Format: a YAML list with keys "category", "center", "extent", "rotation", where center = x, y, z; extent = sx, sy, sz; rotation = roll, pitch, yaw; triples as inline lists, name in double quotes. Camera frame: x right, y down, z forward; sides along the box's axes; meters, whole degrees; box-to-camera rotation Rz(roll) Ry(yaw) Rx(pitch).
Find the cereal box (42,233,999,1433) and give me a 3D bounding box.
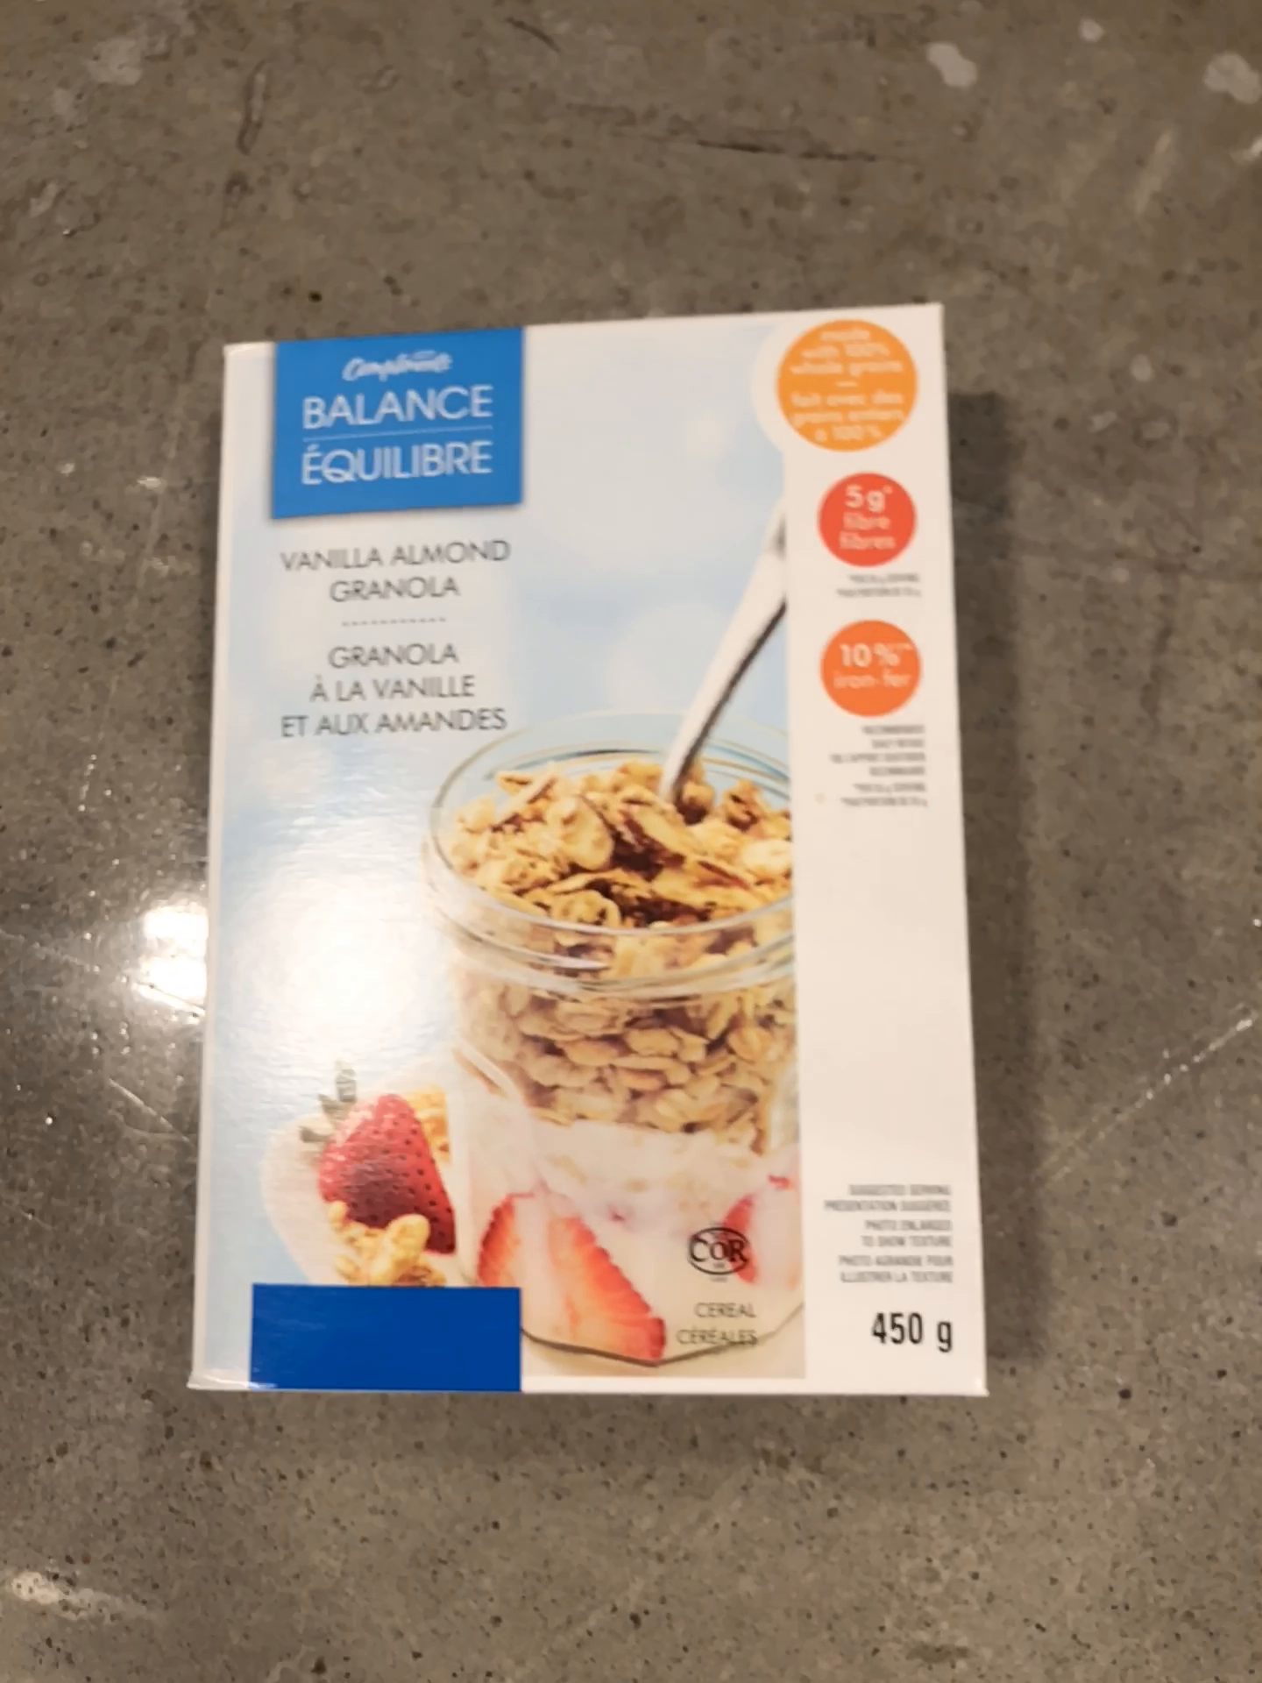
- category: "cereal box"
  center: [-0.024, -0.002, 0.315]
  extent: [0.190, 0.050, 0.240]
  rotation: [-1, 83, 6]
